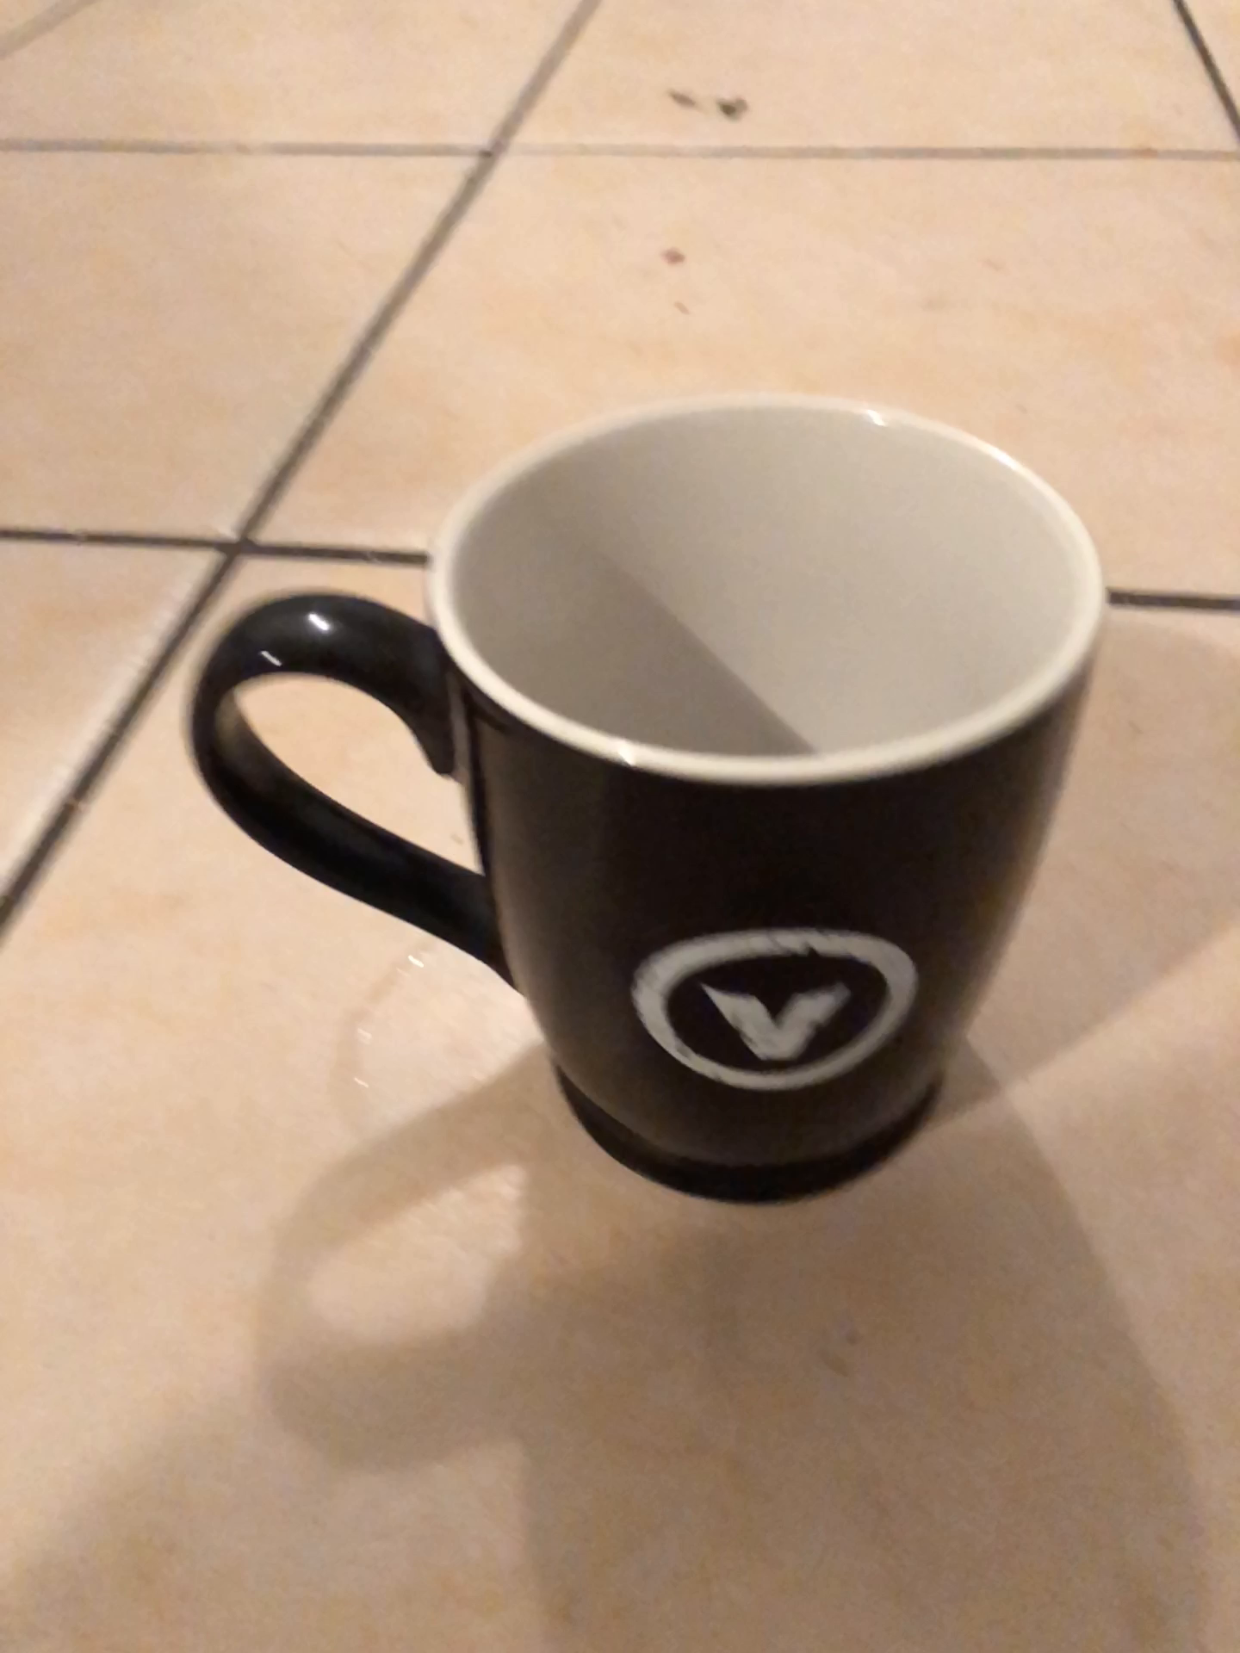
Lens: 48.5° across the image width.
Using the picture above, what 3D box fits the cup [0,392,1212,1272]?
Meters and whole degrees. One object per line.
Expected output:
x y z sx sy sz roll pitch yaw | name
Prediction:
0.002 -0.001 0.228 0.140 0.100 0.101 1 44 5 | cup
